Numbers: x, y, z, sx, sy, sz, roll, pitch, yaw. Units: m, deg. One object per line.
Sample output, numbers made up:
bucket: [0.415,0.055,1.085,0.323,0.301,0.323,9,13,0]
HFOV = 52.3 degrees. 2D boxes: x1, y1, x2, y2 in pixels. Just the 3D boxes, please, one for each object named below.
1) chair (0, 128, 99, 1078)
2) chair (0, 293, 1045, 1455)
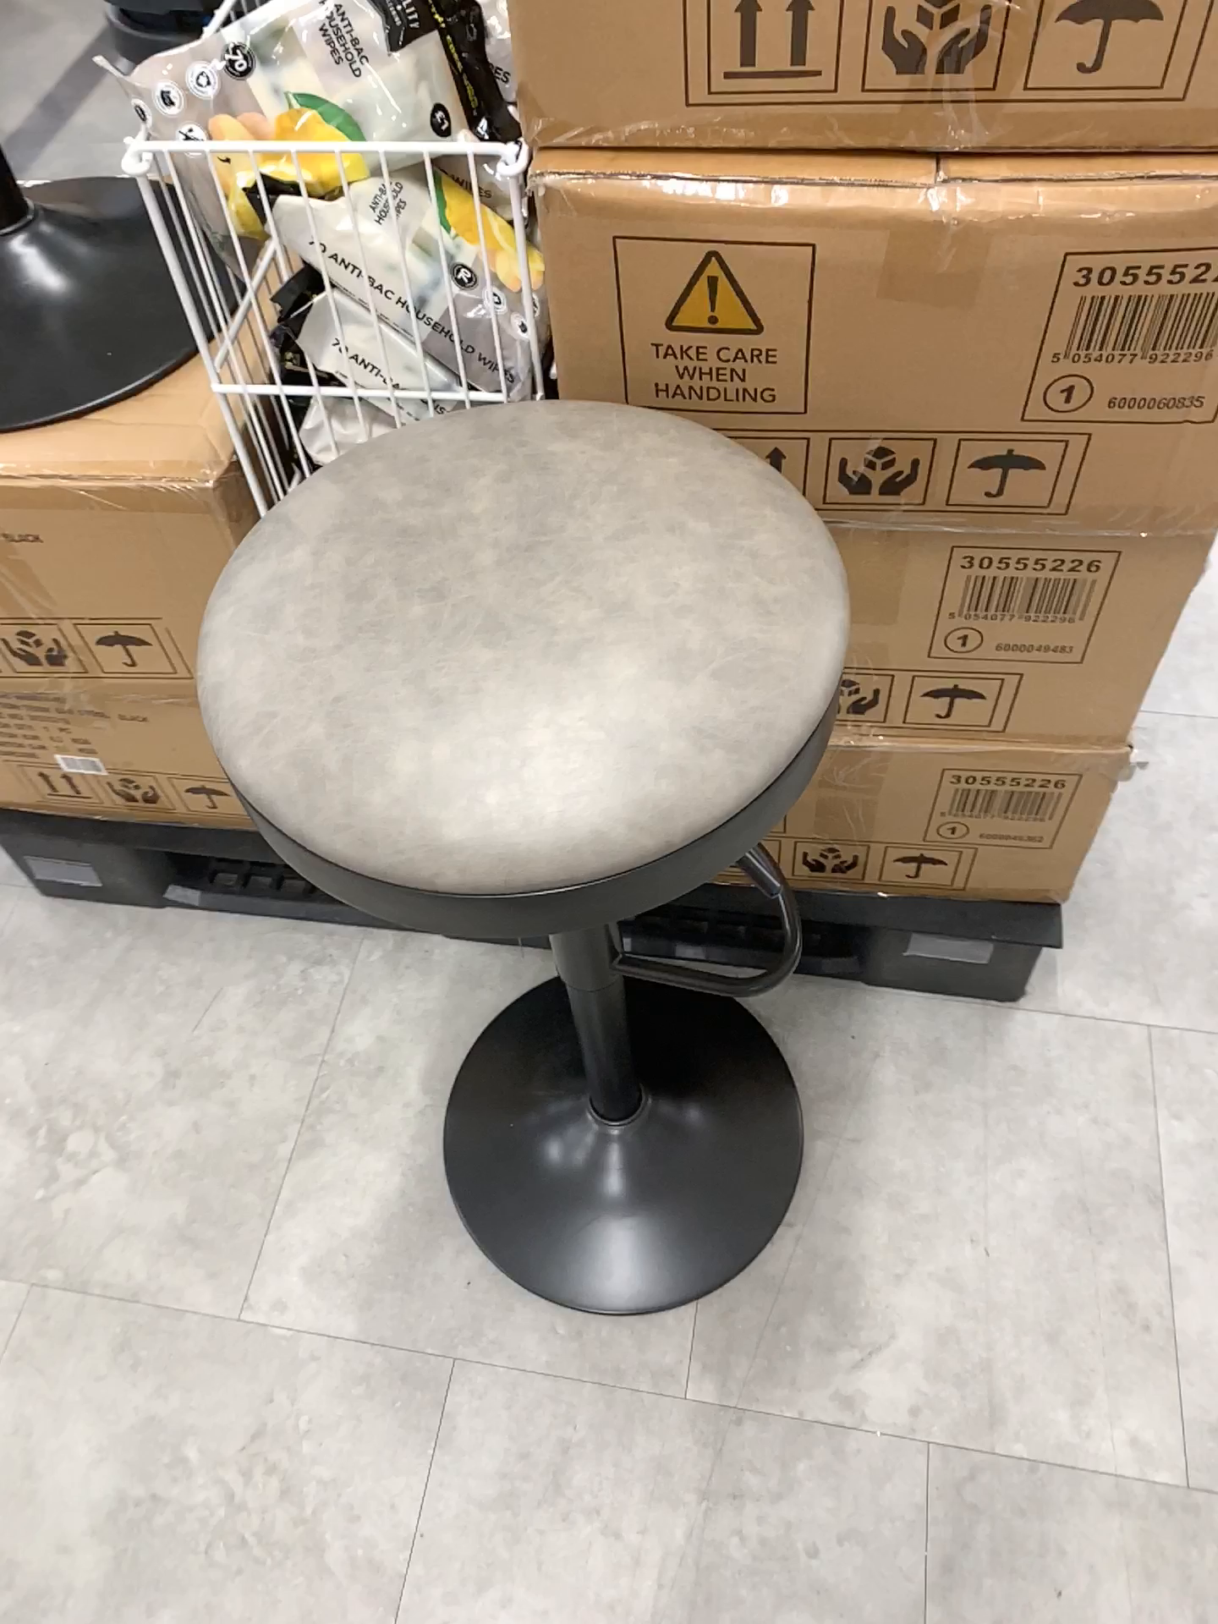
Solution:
chair: [-0.954,-0.151,1.170,0.508,0.722,0.456,8,56,10]
chair: [-0.036,0.105,0.955,0.458,0.742,0.435,21,59,18]
